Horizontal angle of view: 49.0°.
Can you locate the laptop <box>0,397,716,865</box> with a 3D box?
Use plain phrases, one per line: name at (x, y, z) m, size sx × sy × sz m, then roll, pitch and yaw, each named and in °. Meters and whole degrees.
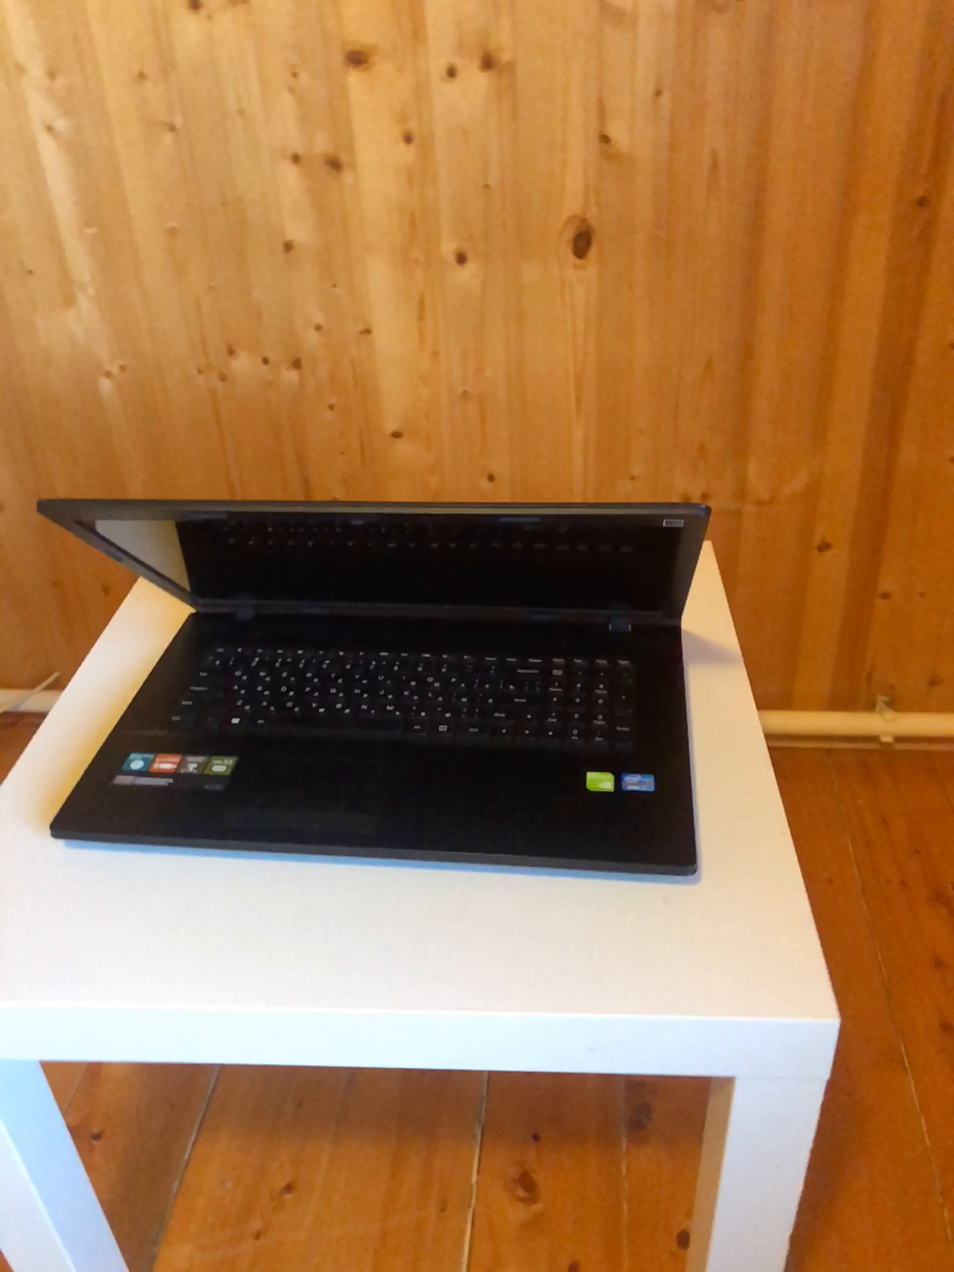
laptop at (-0.059, -0.020, 0.692) m, size 0.401 × 0.183 × 0.253 m, roll 2°, pitch 33°, yaw 6°
